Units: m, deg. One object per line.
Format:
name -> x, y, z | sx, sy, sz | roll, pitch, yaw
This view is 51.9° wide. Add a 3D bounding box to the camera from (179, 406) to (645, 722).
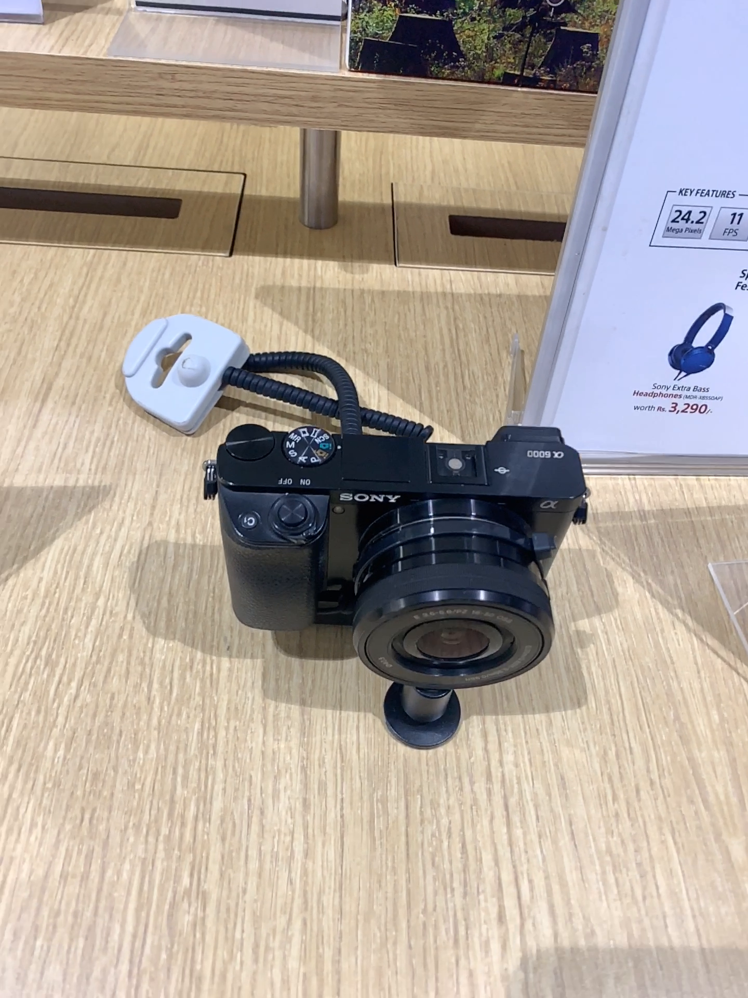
camera -> 0.008, 0.026, 0.270 | 0.130, 0.090, 0.070 | 1, 51, -4
